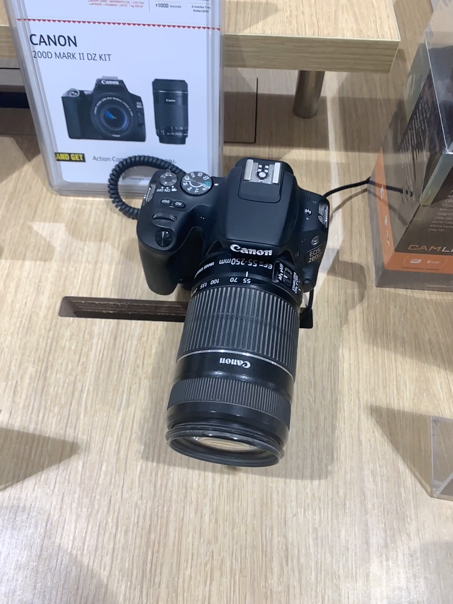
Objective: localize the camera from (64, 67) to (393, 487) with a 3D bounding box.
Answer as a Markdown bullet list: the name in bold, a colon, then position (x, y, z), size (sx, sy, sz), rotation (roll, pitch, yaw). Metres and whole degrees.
- **camera**: position (0.012, -0.017, 0.261), size (0.120, 0.100, 0.200), rotation (6, 61, 3)
